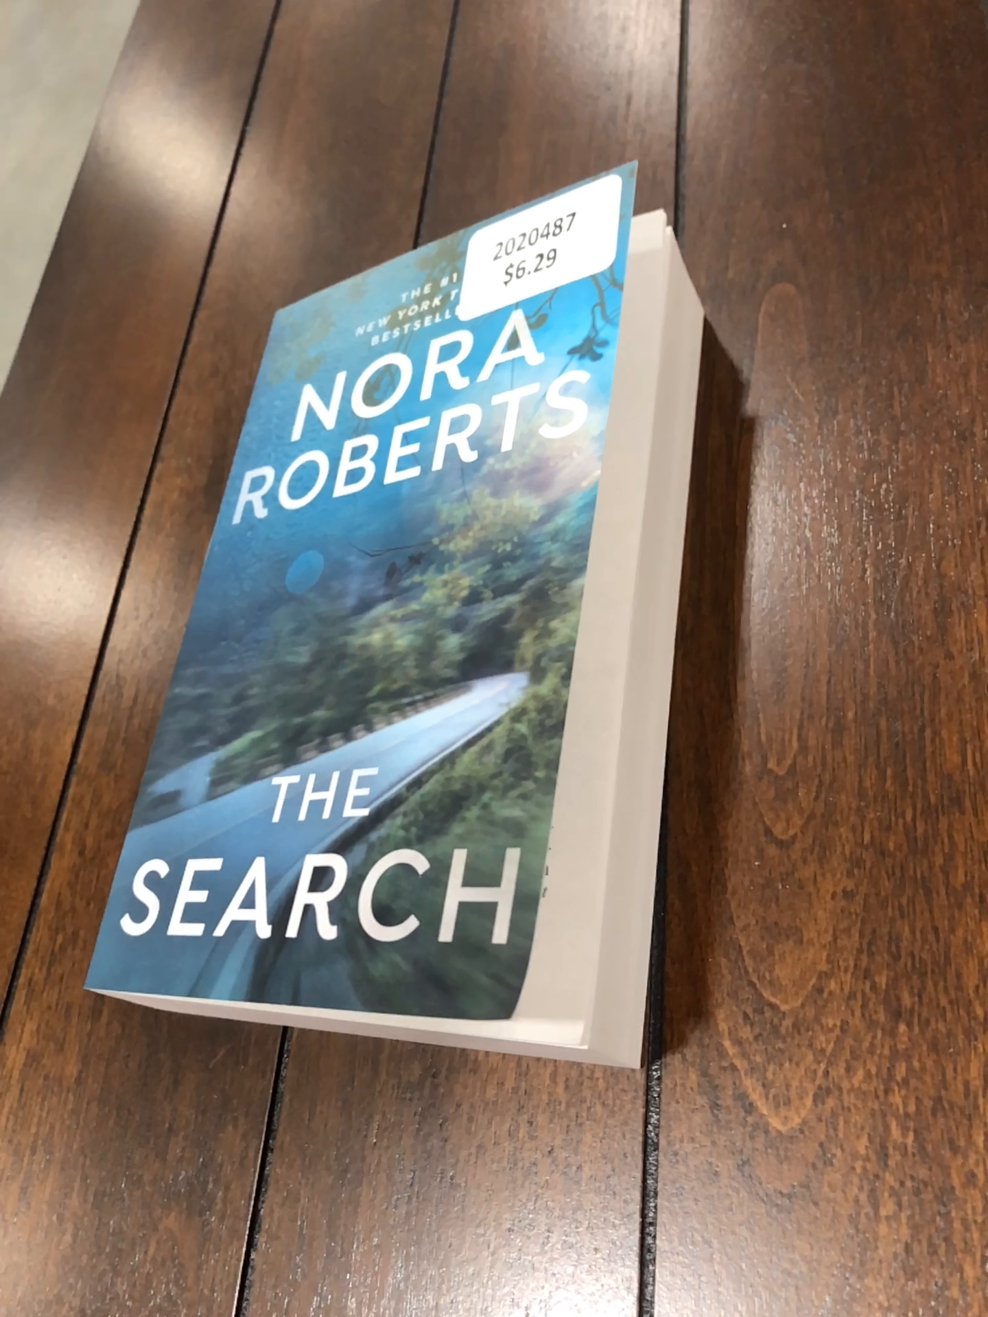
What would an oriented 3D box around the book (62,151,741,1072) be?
[{"bbox_3d":[-0.013,-0.010,0.239,0.108,0.050,0.170,-7,61,34],"label":"book"}]
